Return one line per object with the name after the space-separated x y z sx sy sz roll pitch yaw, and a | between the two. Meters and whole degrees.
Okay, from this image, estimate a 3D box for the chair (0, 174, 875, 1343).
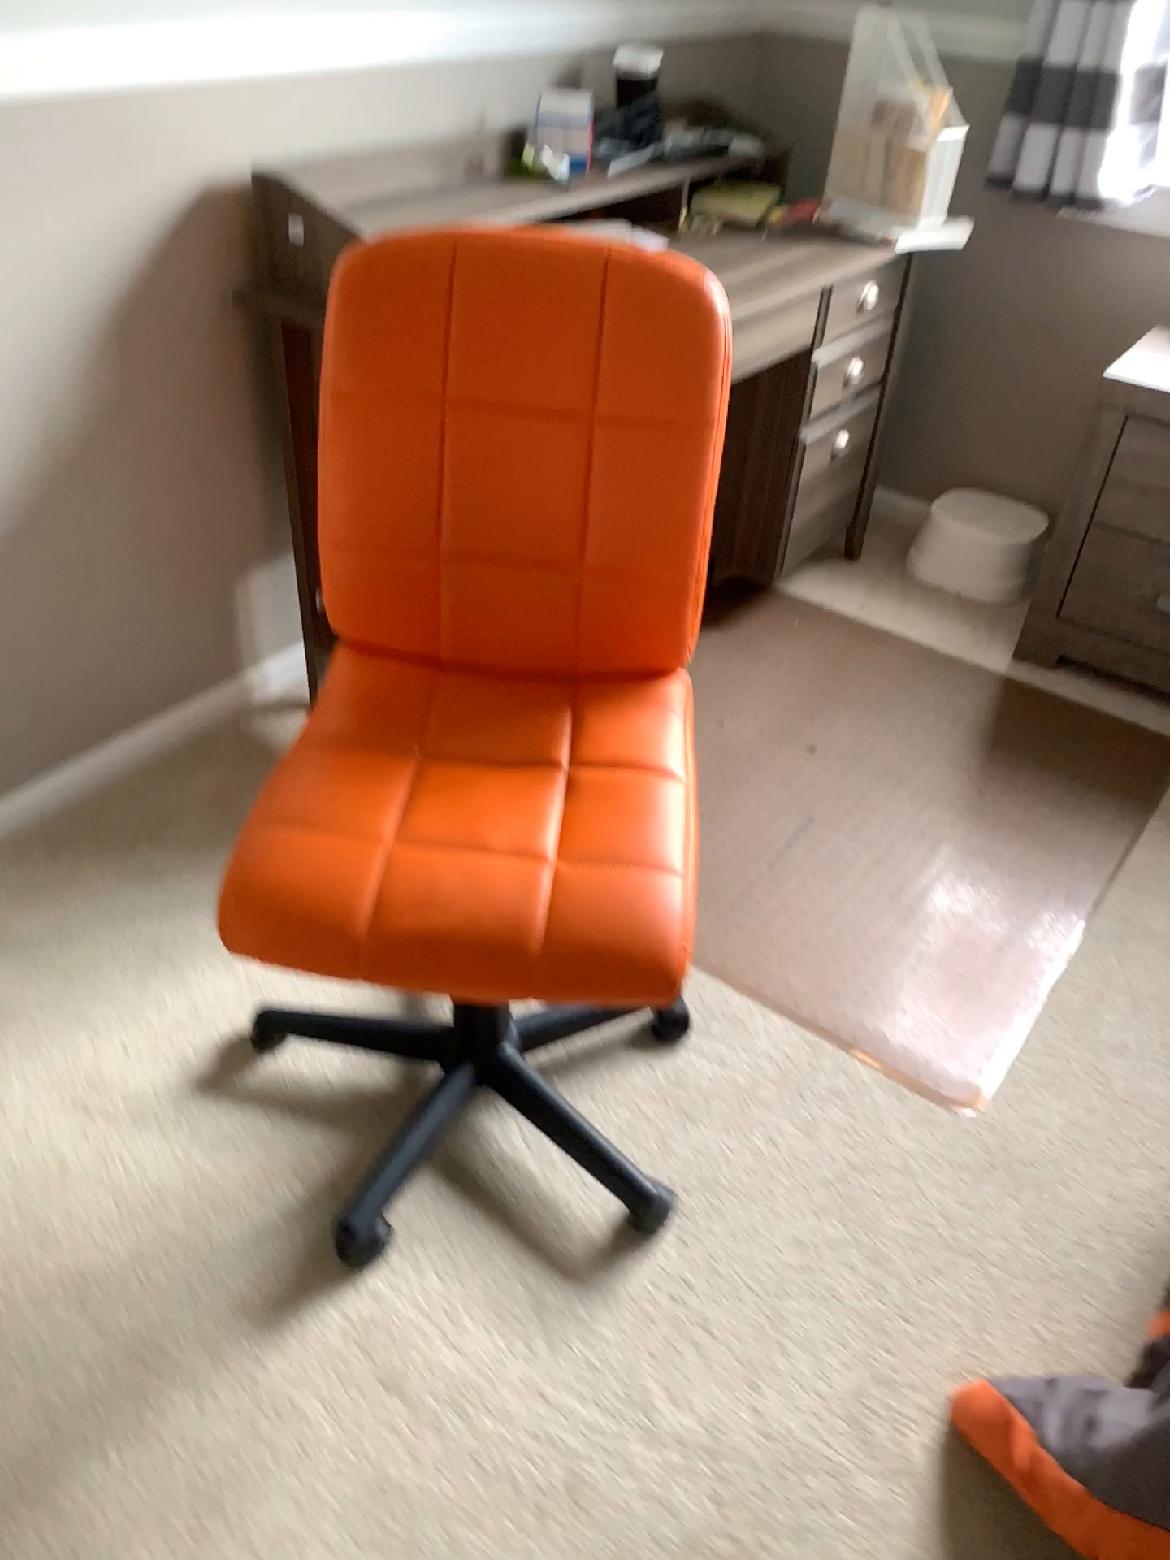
-0.114 -0.020 1.187 0.592 0.904 0.604 9 37 5 | chair
